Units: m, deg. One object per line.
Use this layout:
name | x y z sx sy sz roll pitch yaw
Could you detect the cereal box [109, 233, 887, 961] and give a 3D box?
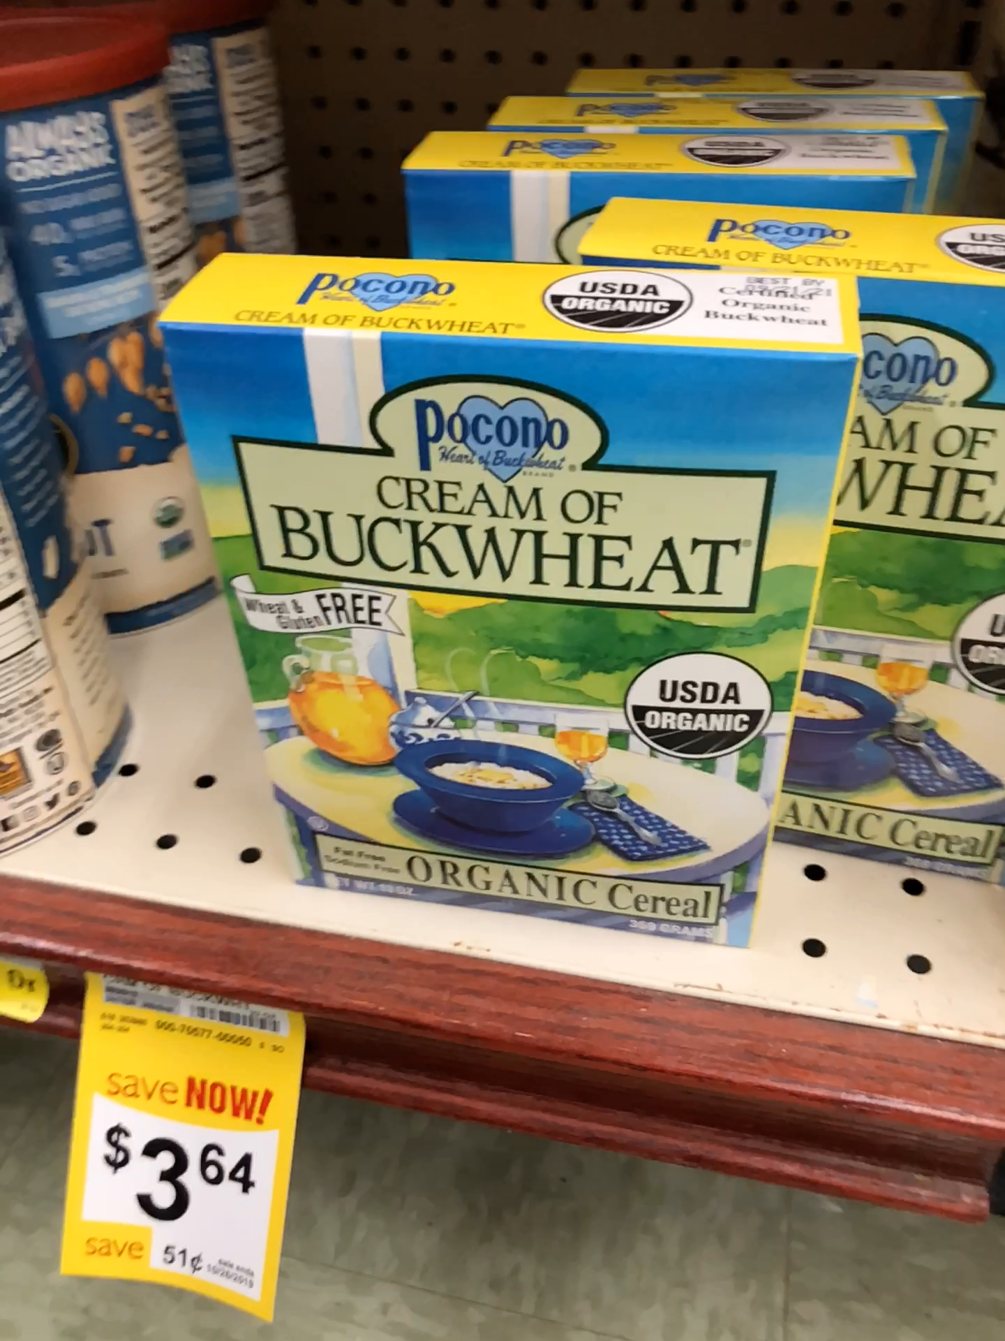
cereal box | 0.001 -0.010 0.245 0.130 0.150 0.040 6 38 9
